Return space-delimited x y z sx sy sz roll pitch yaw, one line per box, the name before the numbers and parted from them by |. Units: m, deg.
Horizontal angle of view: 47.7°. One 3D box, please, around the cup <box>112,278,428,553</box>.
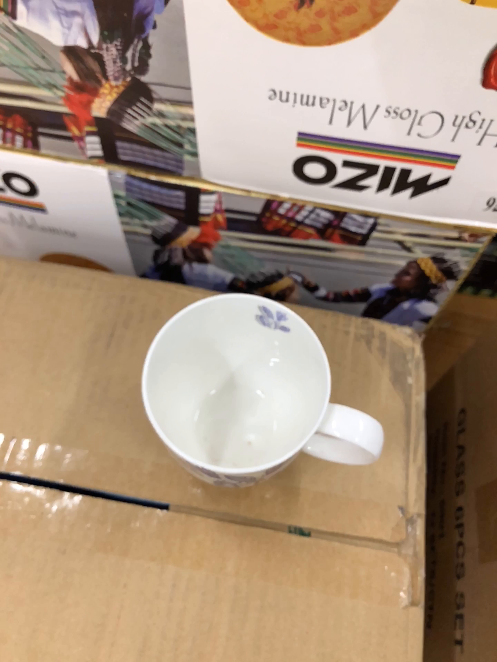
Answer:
cup | 0.012 0.043 0.275 0.120 0.070 0.090 14 64 4
